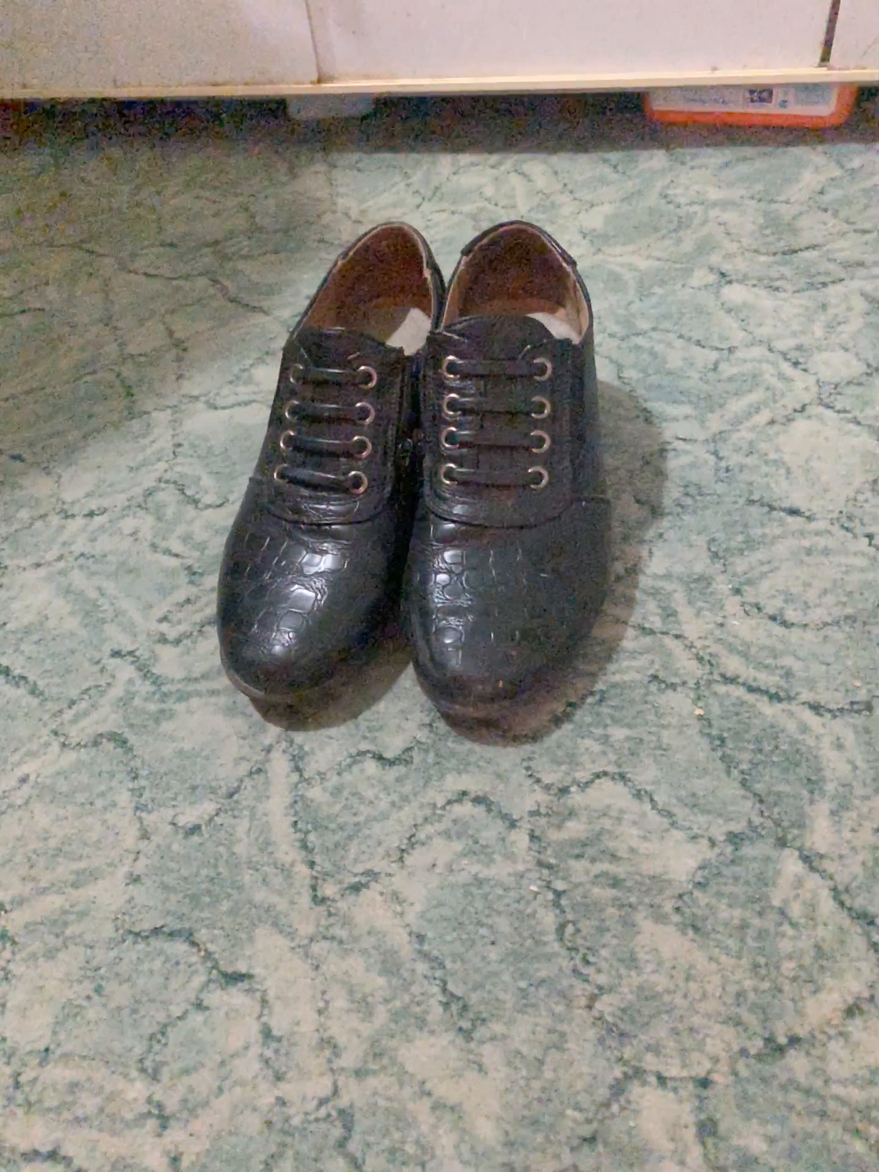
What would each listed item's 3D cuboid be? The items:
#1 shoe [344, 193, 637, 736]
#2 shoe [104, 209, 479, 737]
[{"bbox_3d":[0.032,-0.060,0.391,0.090,0.119,0.211,1,49,8],"label":"shoe"},{"bbox_3d":[-0.046,-0.062,0.415,0.090,0.119,0.221,4,49,11],"label":"shoe"}]
